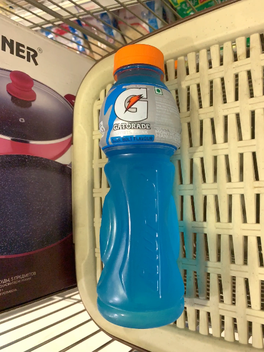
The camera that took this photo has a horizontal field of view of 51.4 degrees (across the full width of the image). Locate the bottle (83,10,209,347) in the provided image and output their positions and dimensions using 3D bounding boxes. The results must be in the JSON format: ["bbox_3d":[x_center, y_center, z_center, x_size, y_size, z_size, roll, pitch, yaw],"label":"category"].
[{"bbox_3d":[0.014,0.001,0.211,0.080,0.060,0.210,-2,87,18],"label":"bottle"}]
